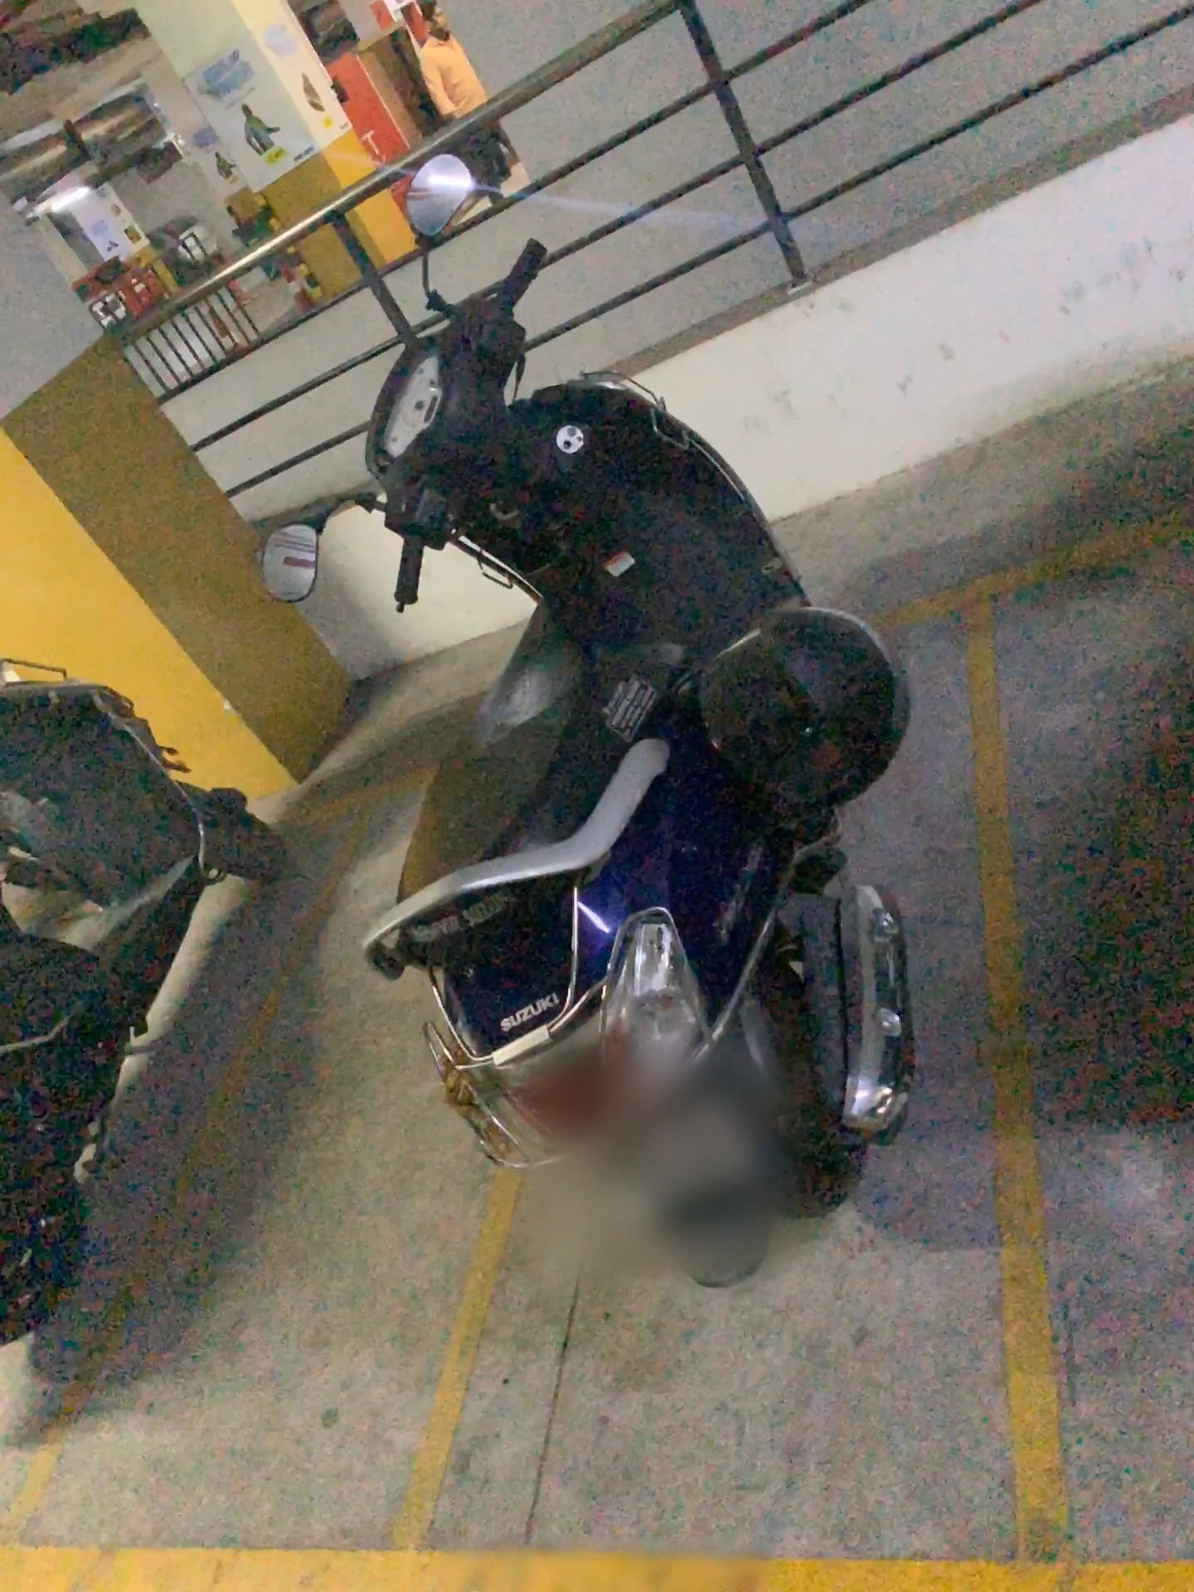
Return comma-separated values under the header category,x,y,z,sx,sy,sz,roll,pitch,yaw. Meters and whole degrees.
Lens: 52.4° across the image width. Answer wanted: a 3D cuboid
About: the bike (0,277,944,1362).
category,x,y,z,sx,sy,sz,roll,pitch,yaw
bike,-0.058,-0.072,2.054,0.623,1.156,1.480,-24,28,17
